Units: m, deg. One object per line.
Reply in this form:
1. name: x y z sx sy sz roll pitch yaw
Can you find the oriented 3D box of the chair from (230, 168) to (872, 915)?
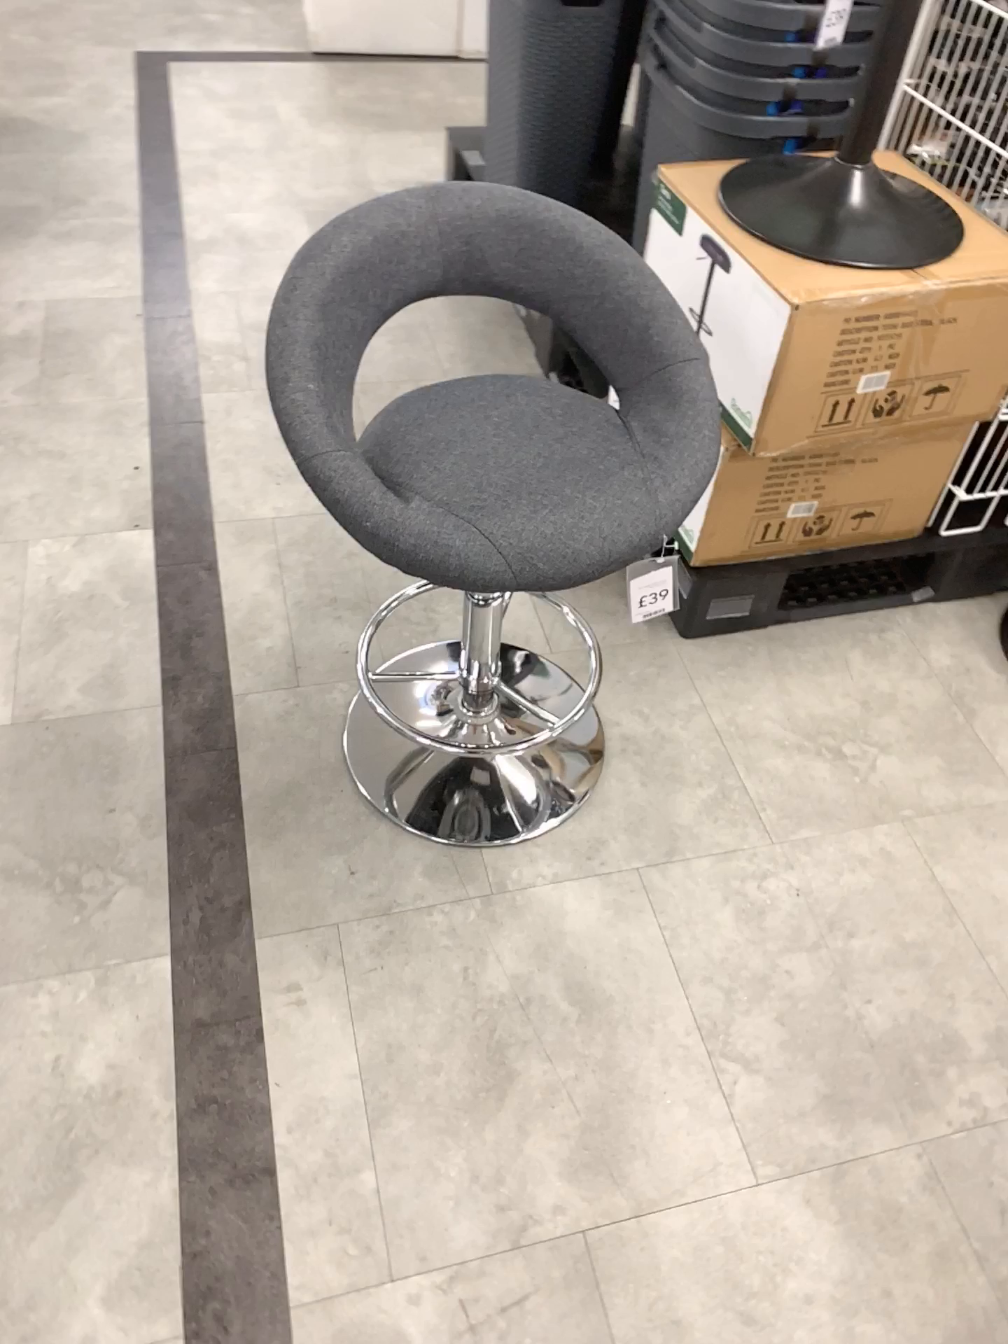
1. chair: -0.006 -0.154 1.379 0.547 0.788 0.489 -11 49 -16
